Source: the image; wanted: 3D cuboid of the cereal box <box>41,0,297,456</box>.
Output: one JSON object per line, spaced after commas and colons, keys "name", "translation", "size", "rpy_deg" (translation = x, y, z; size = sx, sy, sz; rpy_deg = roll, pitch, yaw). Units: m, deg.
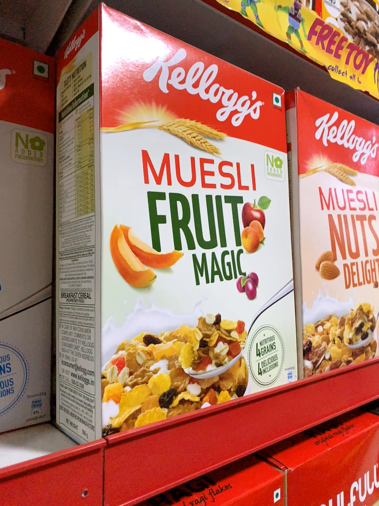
{"name": "cereal box", "translation": [-0.004, -0.016, 0.285], "size": [0.180, 0.240, 0.060], "rpy_deg": [3, -6, -42]}
